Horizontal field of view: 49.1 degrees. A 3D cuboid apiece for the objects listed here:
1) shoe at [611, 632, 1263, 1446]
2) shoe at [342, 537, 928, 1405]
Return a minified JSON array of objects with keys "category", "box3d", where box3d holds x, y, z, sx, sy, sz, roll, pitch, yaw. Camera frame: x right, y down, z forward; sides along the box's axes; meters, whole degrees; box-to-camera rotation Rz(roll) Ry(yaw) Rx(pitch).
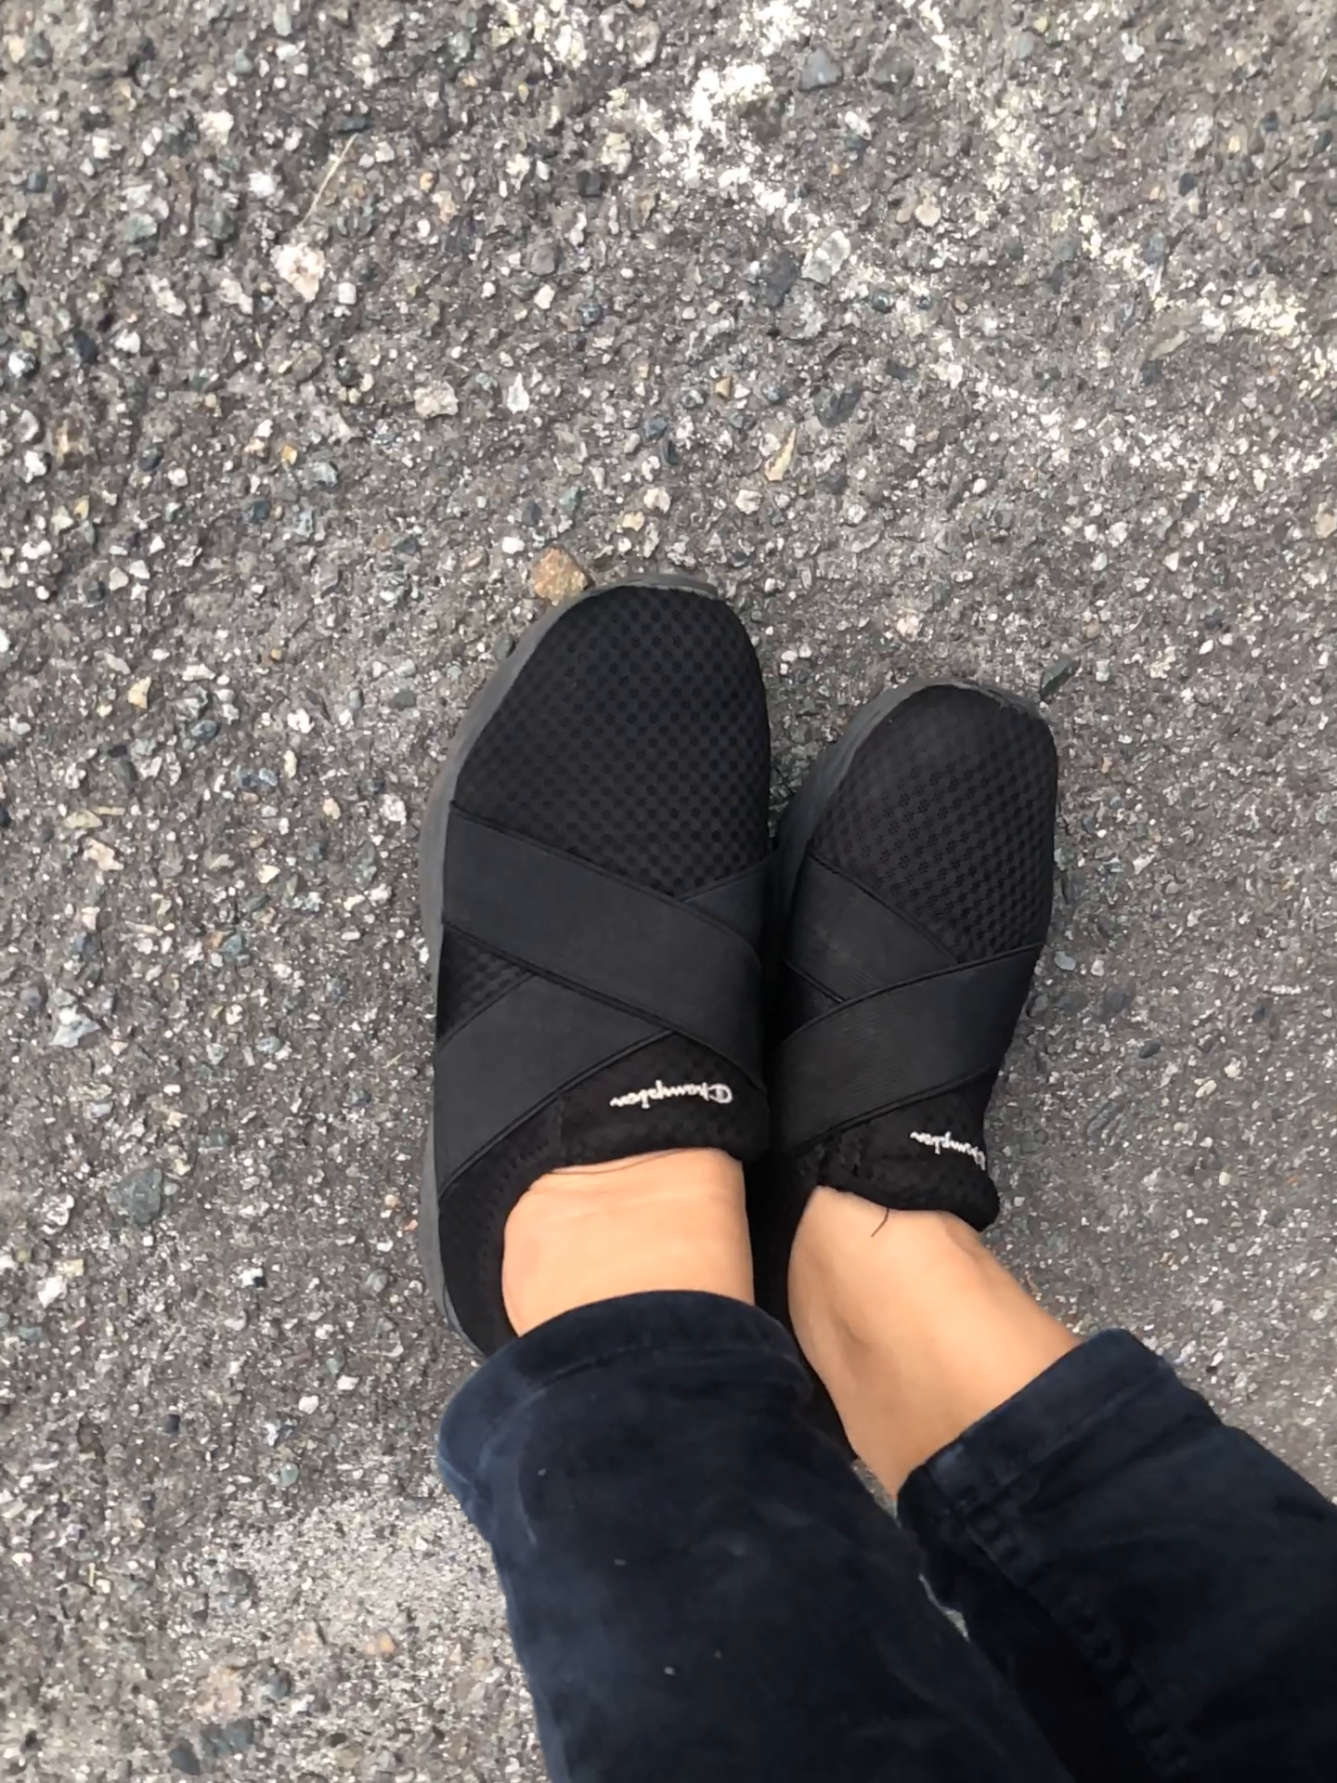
[{"category":"shoe","box3d":[0.075,0.047,0.449,0.100,0.080,0.220,14,102,-25]},{"category":"shoe","box3d":[-0.017,0.025,0.408,0.100,0.070,0.220,8,104,-23]}]
